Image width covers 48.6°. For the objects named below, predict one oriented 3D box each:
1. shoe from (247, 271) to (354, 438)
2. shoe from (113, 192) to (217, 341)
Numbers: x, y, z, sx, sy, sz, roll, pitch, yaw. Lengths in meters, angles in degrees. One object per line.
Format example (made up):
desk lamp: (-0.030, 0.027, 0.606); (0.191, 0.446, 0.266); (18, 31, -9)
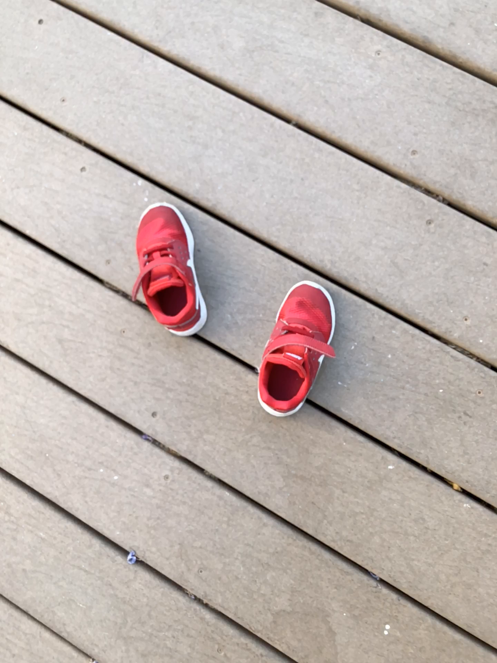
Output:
shoe: (0.059, 0.025, 0.621); (0.069, 0.070, 0.164); (17, 91, 7)
shoe: (-0.095, -0.072, 0.644); (0.073, 0.070, 0.153); (-13, 88, 6)
